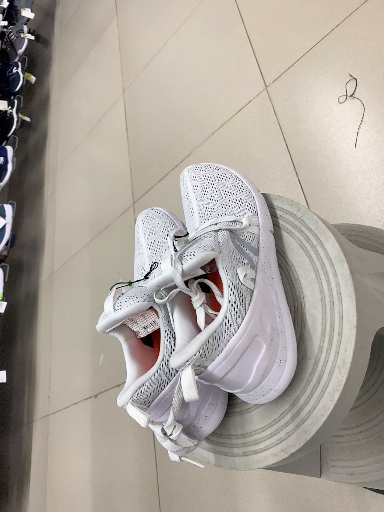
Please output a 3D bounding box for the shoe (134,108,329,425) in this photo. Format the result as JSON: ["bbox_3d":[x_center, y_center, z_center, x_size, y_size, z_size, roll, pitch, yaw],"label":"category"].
[{"bbox_3d":[0.020,0.004,0.389,0.111,0.080,0.280,-34,53,35],"label":"shoe"}]

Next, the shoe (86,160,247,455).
[{"bbox_3d":[-0.042,0.049,0.430,0.111,0.089,0.280,-34,53,35],"label":"shoe"}]
